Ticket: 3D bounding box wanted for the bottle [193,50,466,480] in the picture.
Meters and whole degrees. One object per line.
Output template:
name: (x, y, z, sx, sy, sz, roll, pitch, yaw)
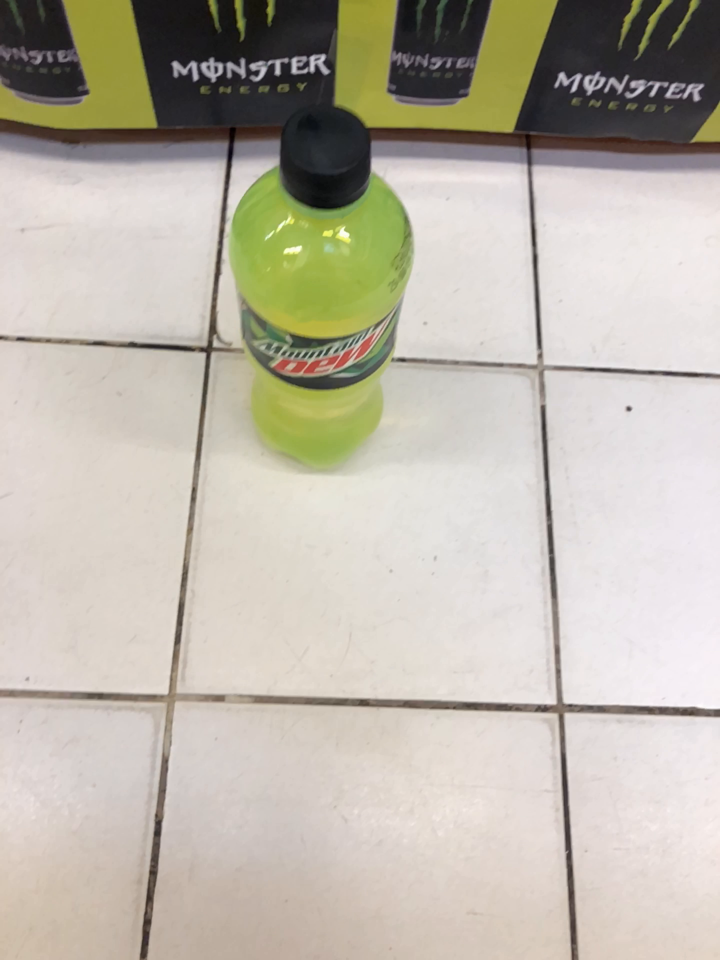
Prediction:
bottle: (-0.014, -0.069, 0.341, 0.080, 0.199, 0.070, 2, 69, -3)
